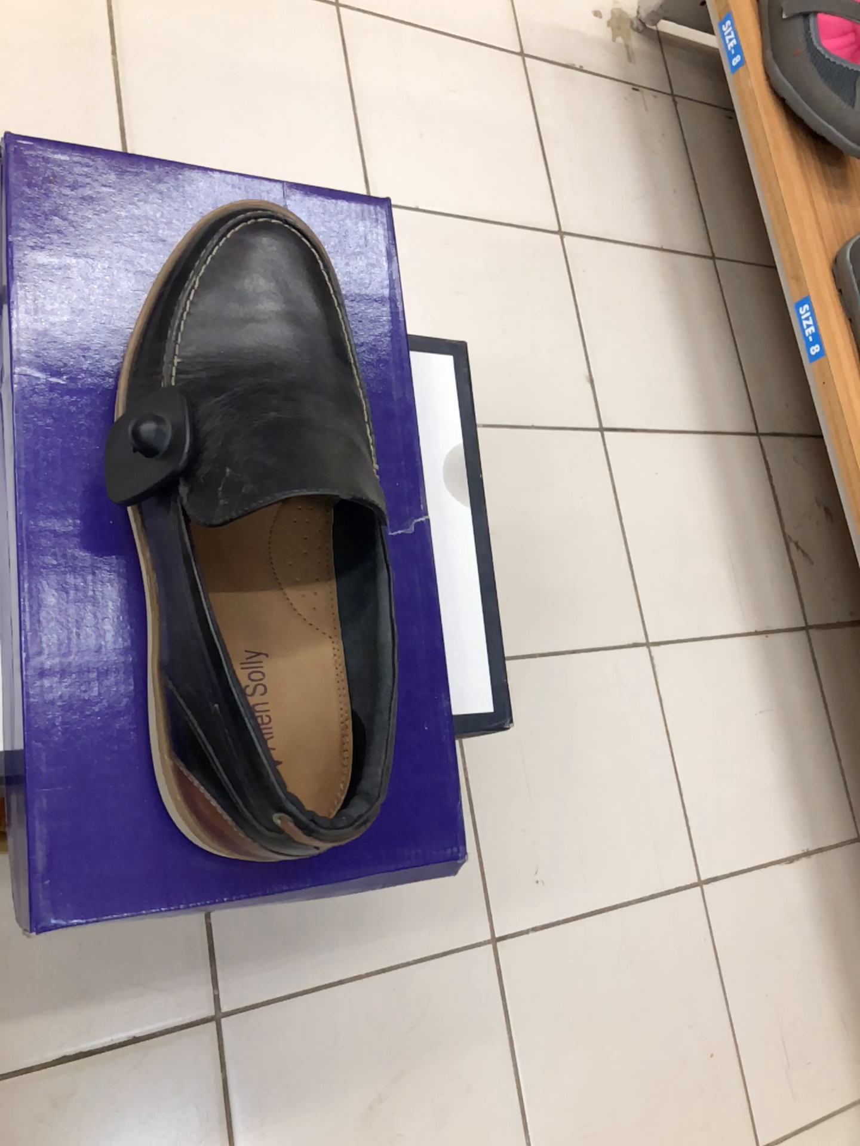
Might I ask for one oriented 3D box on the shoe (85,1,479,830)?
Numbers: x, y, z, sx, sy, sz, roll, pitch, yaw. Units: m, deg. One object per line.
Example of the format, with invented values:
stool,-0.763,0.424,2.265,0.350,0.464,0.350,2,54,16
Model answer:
shoe,-0.073,-0.057,0.394,0.100,0.109,0.300,-1,75,-29
